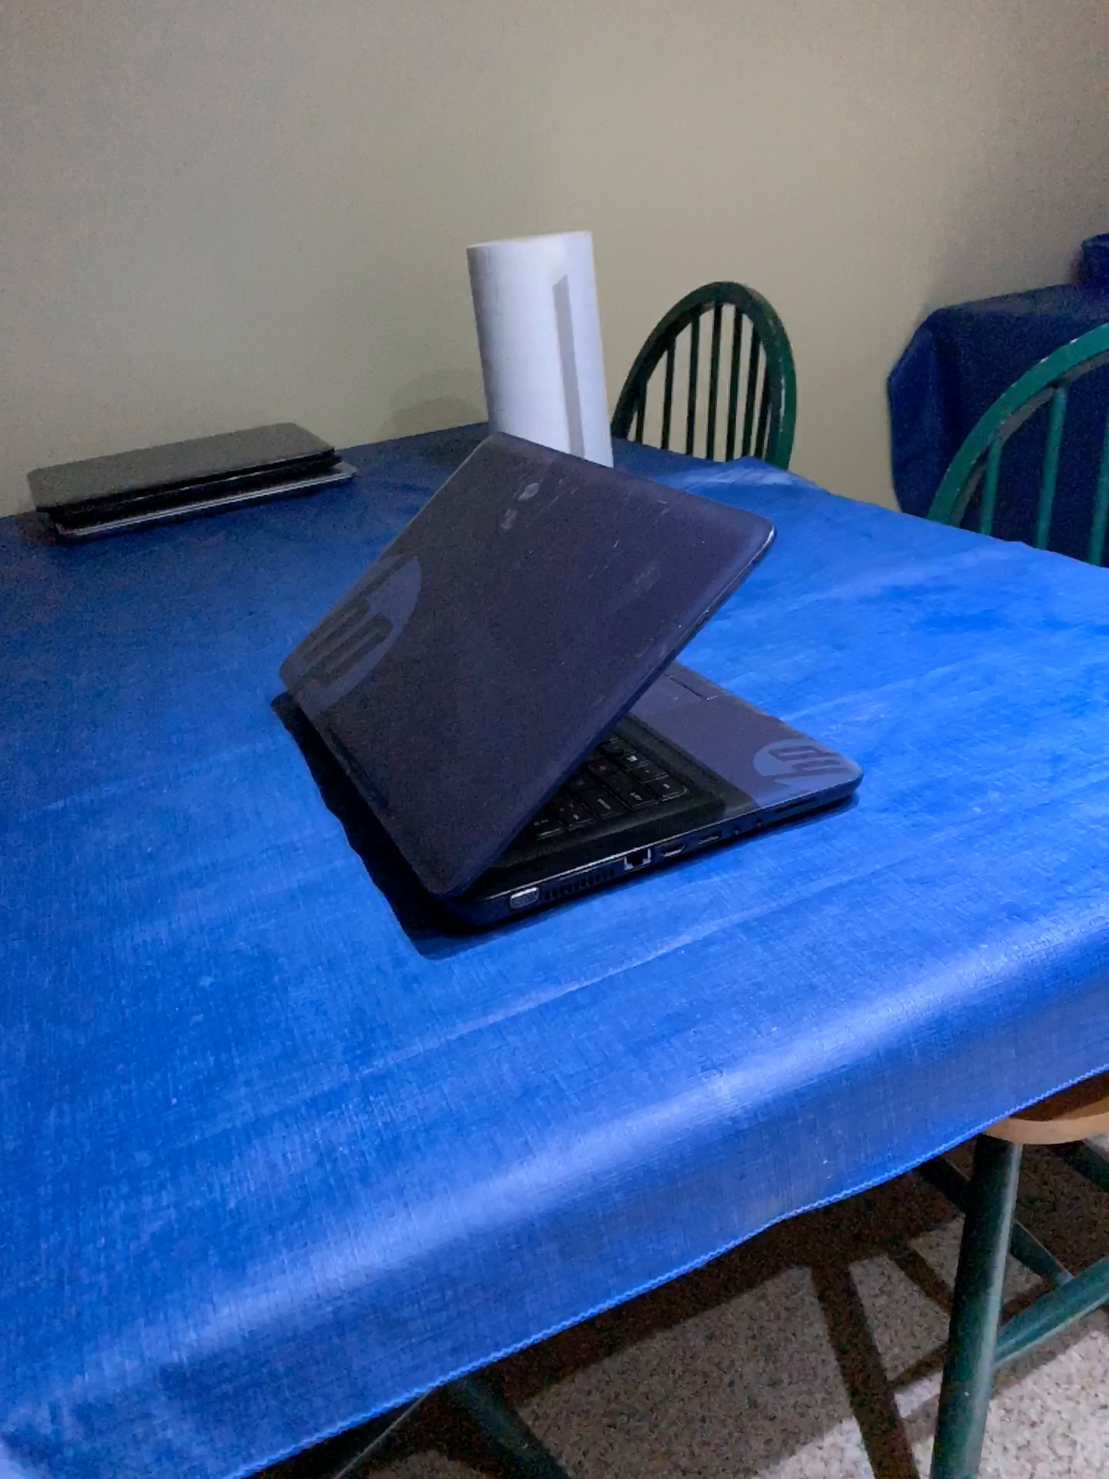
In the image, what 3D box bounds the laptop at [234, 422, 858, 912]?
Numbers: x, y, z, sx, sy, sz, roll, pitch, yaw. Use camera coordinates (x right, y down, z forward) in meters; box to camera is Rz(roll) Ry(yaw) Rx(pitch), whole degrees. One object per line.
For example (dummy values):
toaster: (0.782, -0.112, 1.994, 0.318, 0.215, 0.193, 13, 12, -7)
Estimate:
laptop: (-0.027, -0.080, 0.693, 0.239, 0.141, 0.365, -16, 27, -20)
